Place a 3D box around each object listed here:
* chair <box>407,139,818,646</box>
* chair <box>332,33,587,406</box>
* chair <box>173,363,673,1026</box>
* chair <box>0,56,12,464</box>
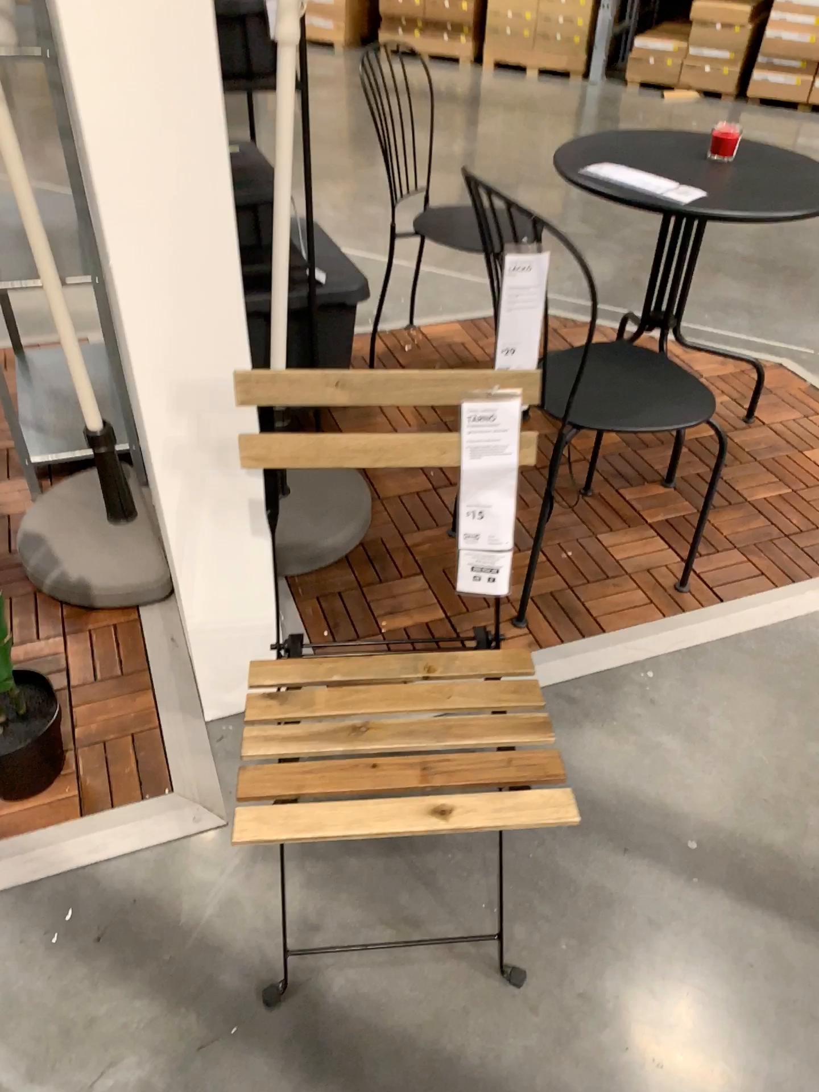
[{"bbox_3d":[0.340,-0.293,1.656,0.557,0.821,0.400,-12,41,-17],"label":"chair"},{"bbox_3d":[0.119,-0.900,2.347,0.547,0.831,0.380,15,40,14],"label":"chair"},{"bbox_3d":[-0.017,0.202,1.093,0.408,0.721,0.479,-1,39,-5],"label":"chair"},{"bbox_3d":[-1.522,-0.747,2.187,0.499,0.811,0.508,20,42,21],"label":"chair"}]
